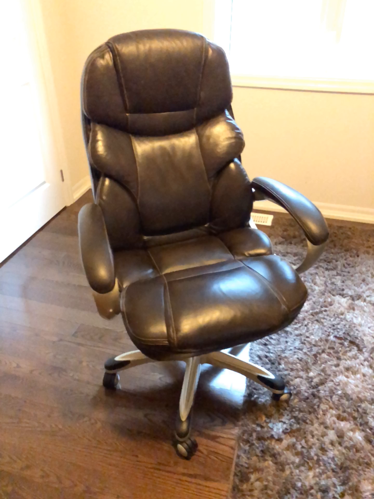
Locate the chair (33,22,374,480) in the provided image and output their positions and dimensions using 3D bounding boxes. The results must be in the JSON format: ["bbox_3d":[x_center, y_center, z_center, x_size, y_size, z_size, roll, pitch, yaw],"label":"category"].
[{"bbox_3d":[0.020,-0.037,1.314,0.730,1.135,0.743,-9,34,-13],"label":"chair"}]
